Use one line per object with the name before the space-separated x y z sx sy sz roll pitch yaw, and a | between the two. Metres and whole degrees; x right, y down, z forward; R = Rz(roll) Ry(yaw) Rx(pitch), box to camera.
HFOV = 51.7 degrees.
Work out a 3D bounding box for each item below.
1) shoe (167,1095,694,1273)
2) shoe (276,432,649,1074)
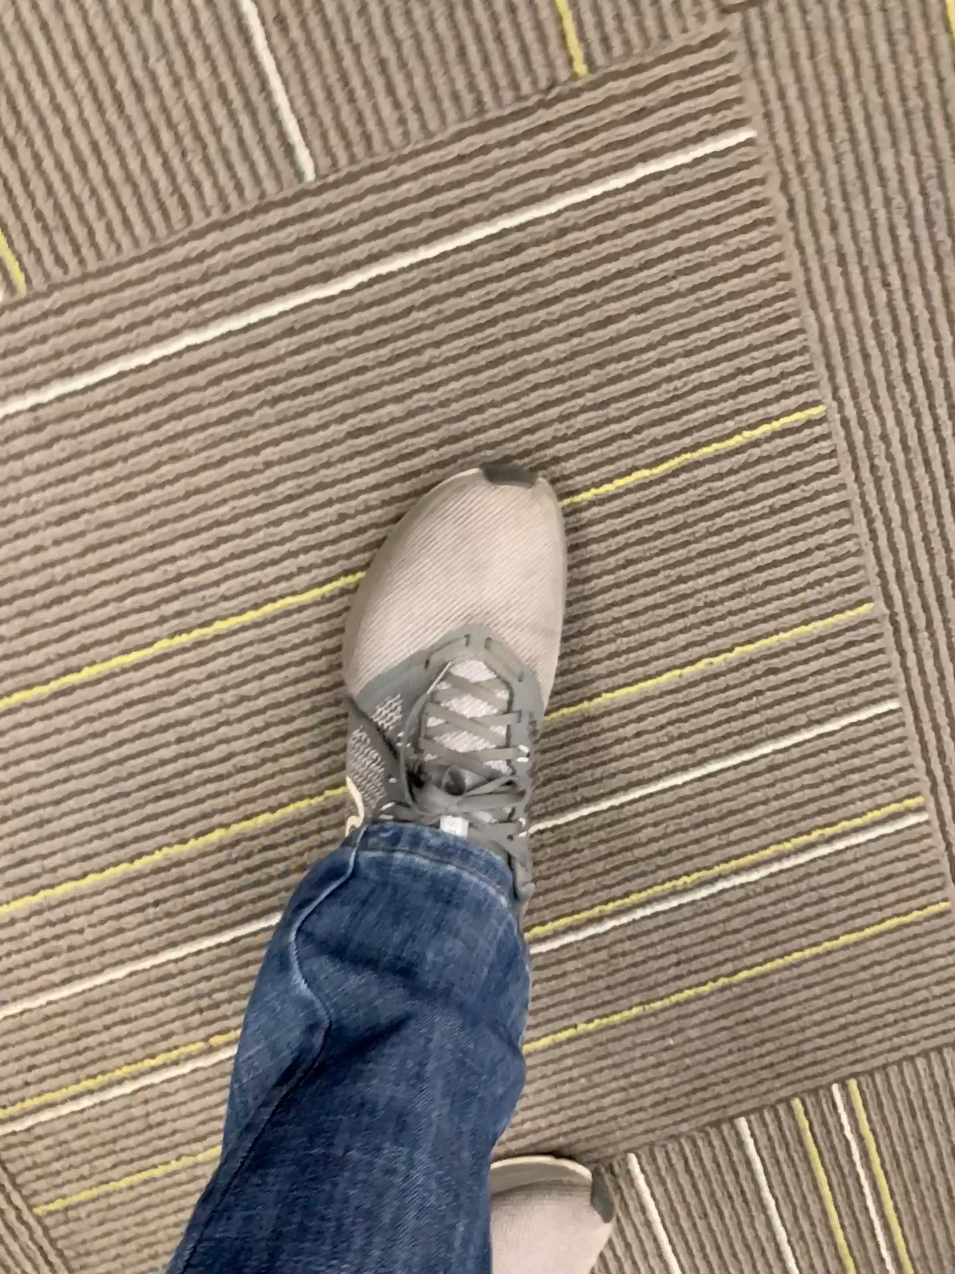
shoe | -0.031 0.449 0.645 0.299 0.093 0.128 -33 105 6
shoe | -0.016 0.062 0.525 0.131 0.093 0.313 9 105 -6
